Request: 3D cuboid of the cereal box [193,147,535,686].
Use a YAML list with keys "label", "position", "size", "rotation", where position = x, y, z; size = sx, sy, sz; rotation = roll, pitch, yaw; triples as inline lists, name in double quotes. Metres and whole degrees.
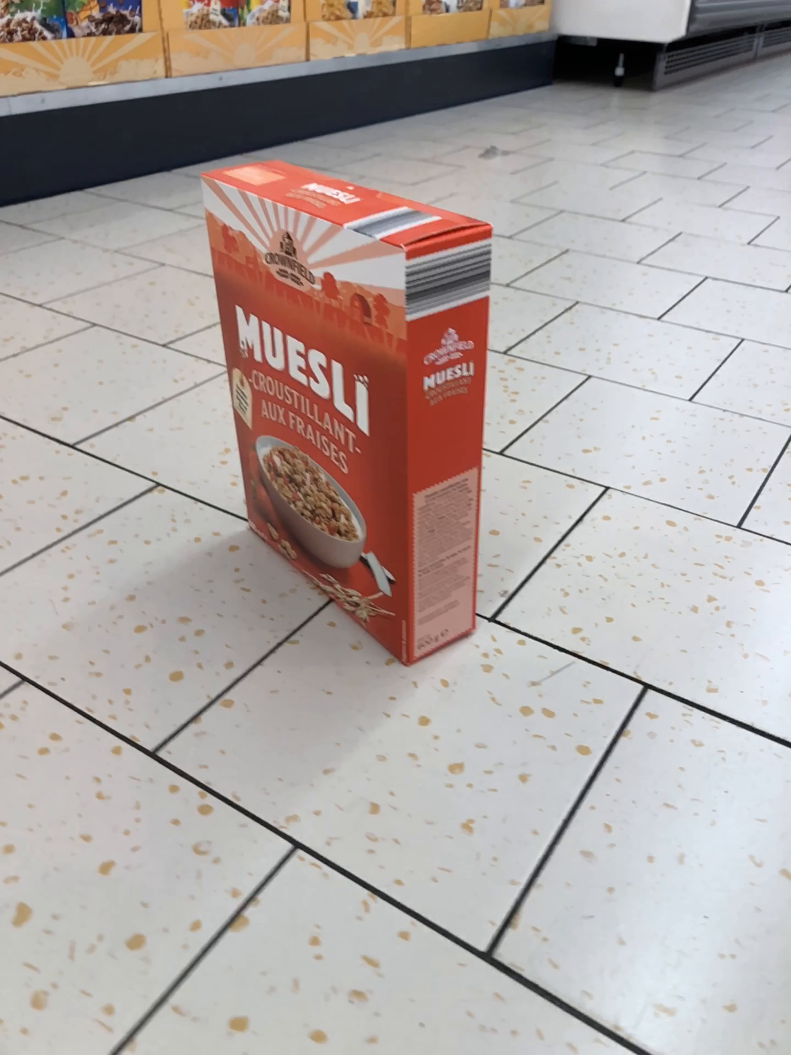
- label: "cereal box"
  position: [-0.025, -0.070, 0.510]
  size: [0.070, 0.248, 0.200]
  rotation: [-23, 39, -30]
